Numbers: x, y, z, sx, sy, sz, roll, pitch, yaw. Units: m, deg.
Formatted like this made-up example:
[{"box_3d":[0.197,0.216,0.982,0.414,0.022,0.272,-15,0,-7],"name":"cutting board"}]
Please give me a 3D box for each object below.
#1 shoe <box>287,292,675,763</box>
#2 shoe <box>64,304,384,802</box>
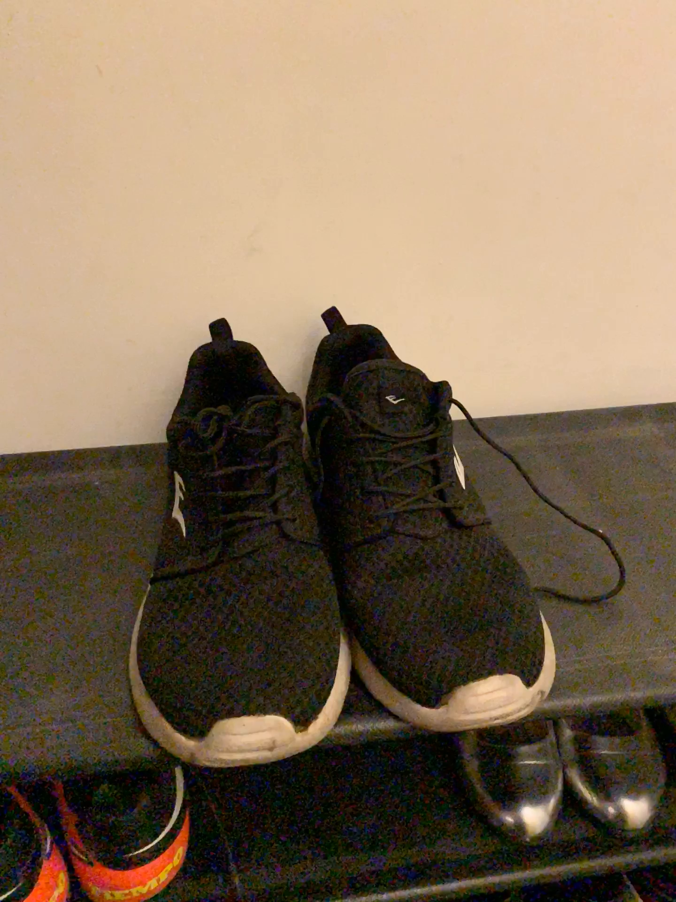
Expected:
[{"box_3d":[0.046,0.008,0.410,0.120,0.099,0.303,-5,32,-7],"name":"shoe"},{"box_3d":[-0.057,0.019,0.395,0.110,0.099,0.303,-4,32,-6],"name":"shoe"}]
